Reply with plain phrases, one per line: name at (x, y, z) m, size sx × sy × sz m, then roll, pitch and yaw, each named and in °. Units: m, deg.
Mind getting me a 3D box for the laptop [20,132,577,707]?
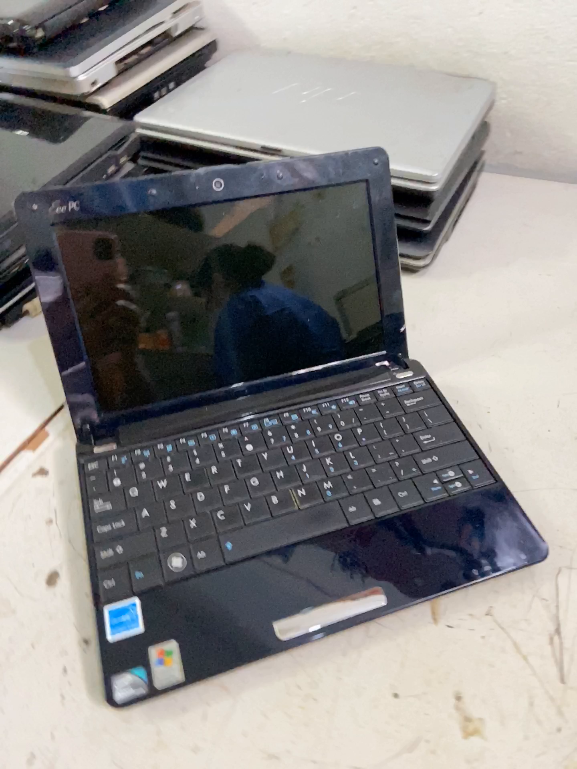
laptop at (-0.008, -0.014, 0.370) m, size 0.260 × 0.133 × 0.274 m, roll -13°, pitch 48°, yaw -13°
